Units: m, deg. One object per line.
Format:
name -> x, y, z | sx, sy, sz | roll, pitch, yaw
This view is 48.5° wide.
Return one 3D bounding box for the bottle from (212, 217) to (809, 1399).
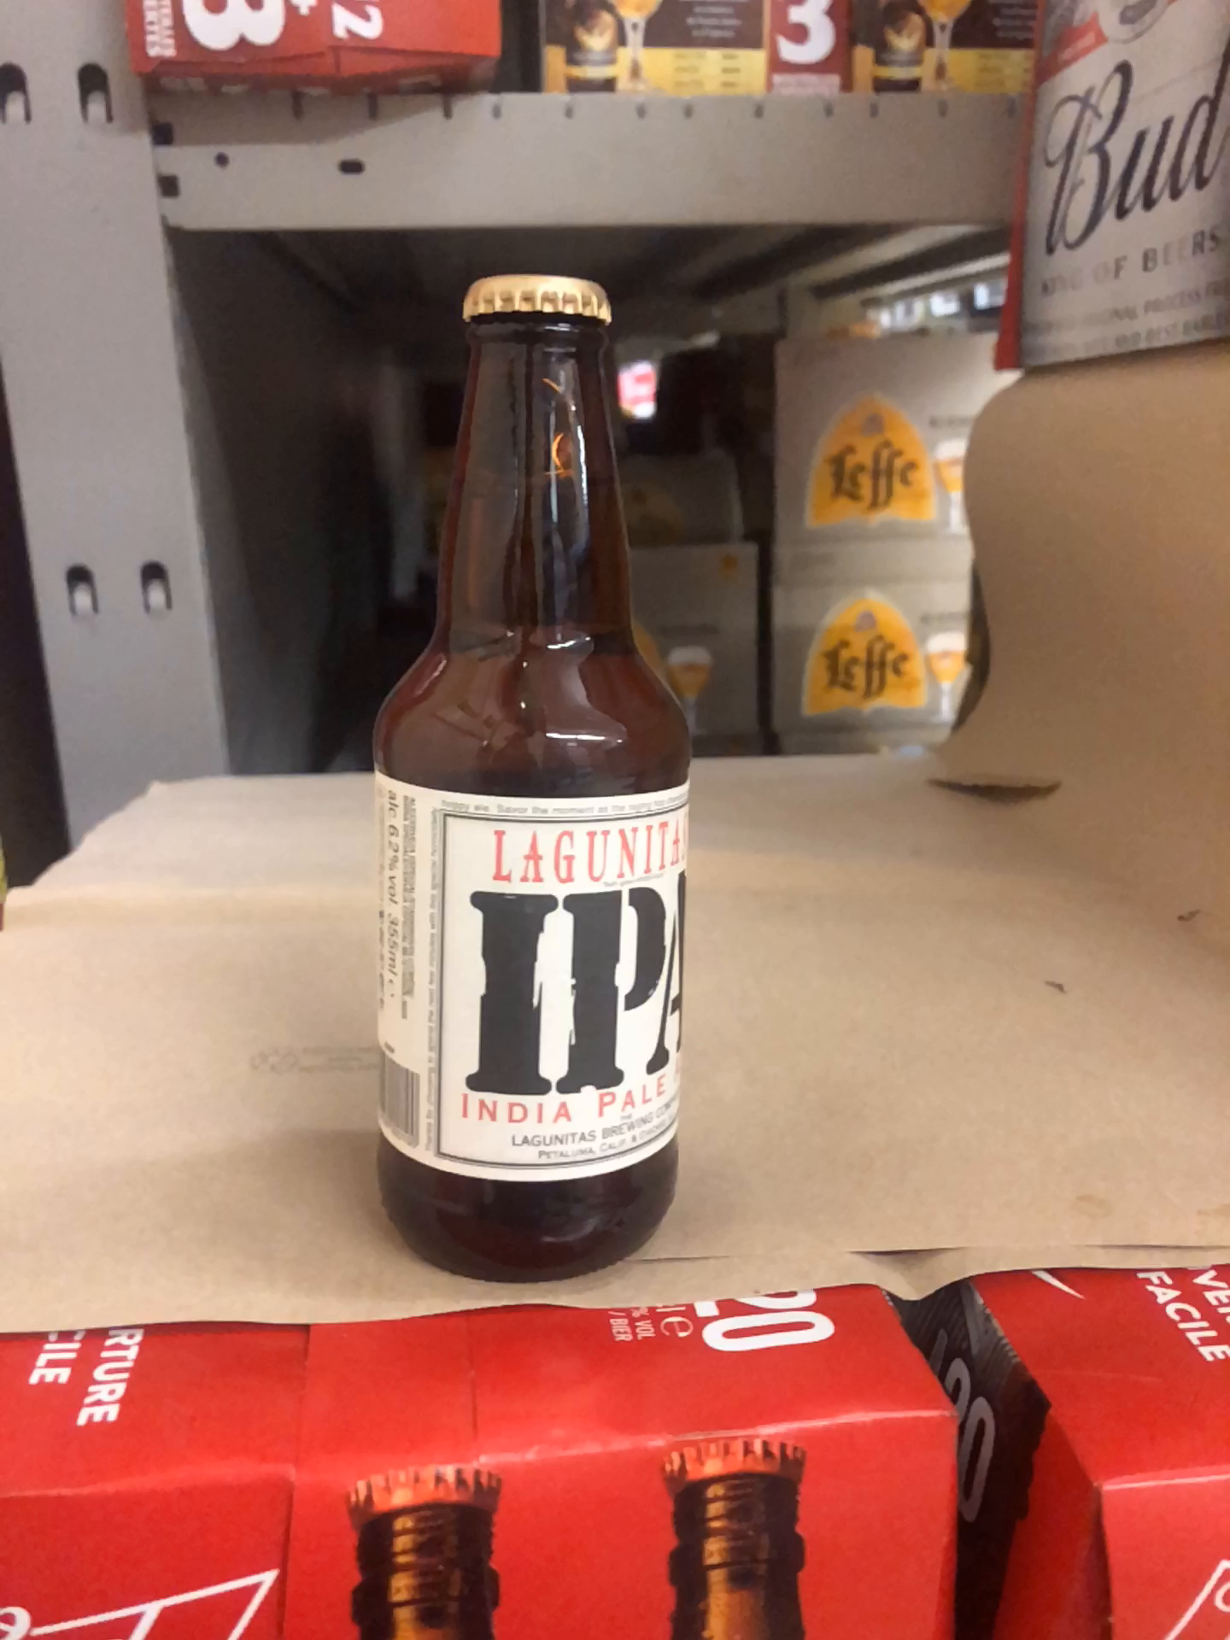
bottle -> -0.025, -0.006, 0.277 | 0.080, 0.199, 0.080 | 2, 15, -1
